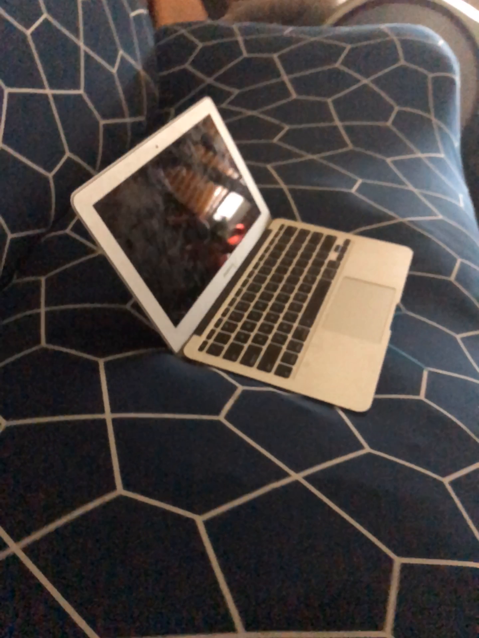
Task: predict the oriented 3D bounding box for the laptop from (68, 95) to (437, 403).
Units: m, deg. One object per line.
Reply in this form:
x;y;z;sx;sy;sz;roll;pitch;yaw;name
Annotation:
0.037;-0.101;0.568;0.279;0.156;0.283;14;41;16;laptop
